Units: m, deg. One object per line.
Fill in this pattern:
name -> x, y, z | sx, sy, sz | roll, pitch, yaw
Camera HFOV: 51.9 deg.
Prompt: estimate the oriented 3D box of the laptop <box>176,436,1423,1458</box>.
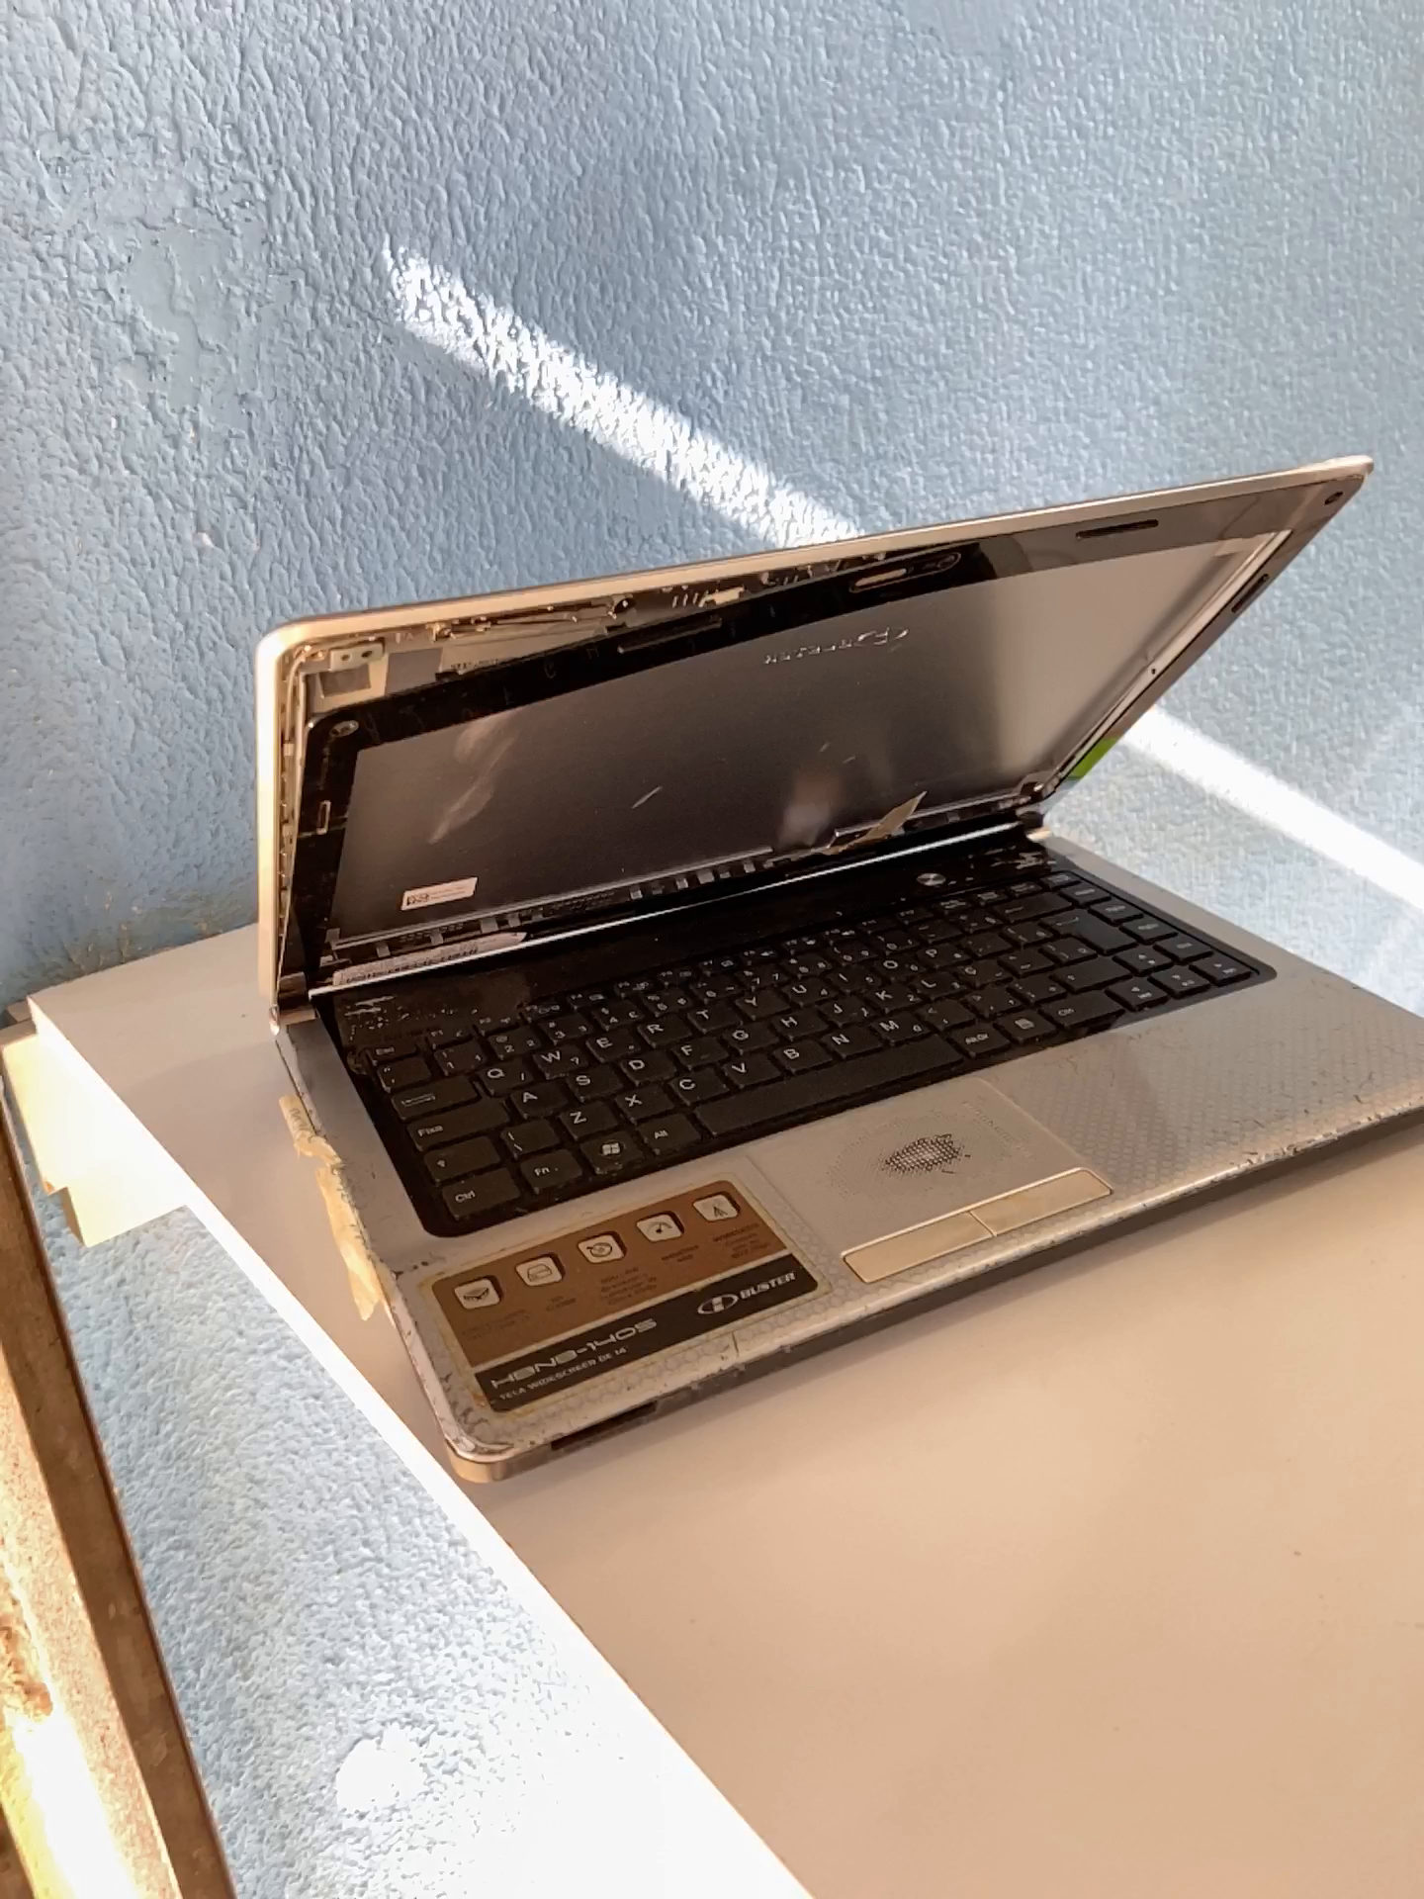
laptop -> 0.038, -0.044, 0.444 | 0.326, 0.160, 0.233 | -14, 28, -22
